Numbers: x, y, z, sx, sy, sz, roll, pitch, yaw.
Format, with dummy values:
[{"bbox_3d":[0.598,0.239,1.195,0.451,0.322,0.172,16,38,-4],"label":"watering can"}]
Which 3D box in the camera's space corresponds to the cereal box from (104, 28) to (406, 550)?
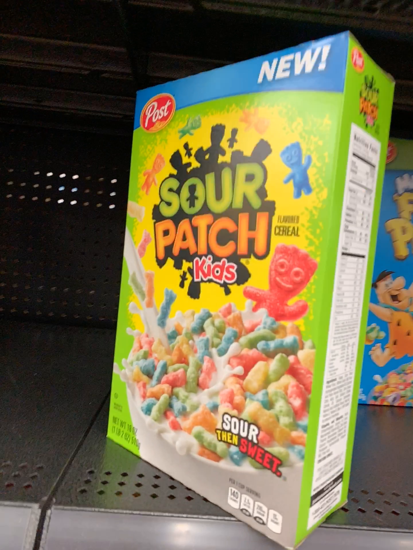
[{"bbox_3d":[0.024,0.006,0.339,0.200,0.310,0.080,8,4,41],"label":"cereal box"}]
